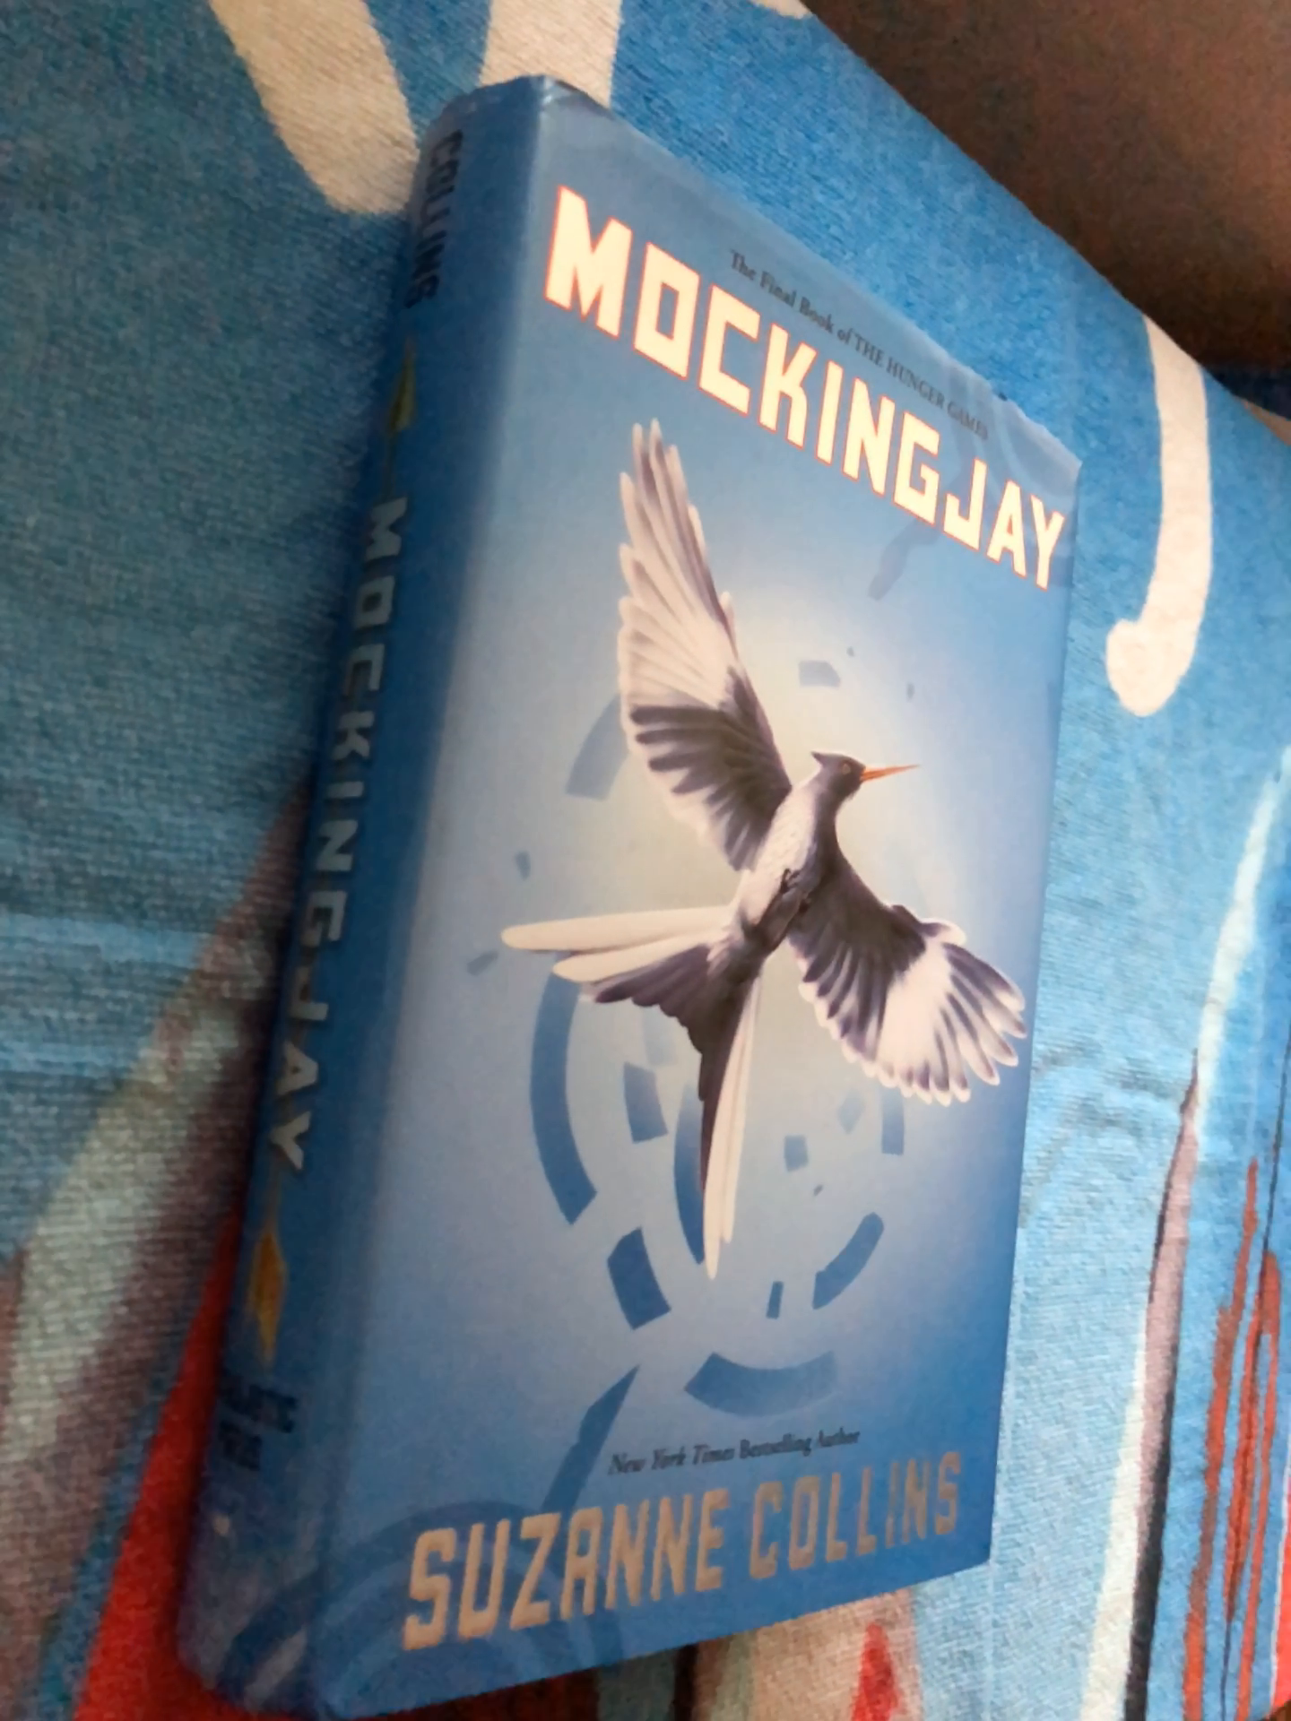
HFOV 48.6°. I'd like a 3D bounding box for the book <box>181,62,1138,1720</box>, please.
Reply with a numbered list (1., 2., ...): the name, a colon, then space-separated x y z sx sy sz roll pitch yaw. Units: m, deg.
1. book: 0.018 0.011 0.227 0.141 0.040 0.200 15 79 -42
